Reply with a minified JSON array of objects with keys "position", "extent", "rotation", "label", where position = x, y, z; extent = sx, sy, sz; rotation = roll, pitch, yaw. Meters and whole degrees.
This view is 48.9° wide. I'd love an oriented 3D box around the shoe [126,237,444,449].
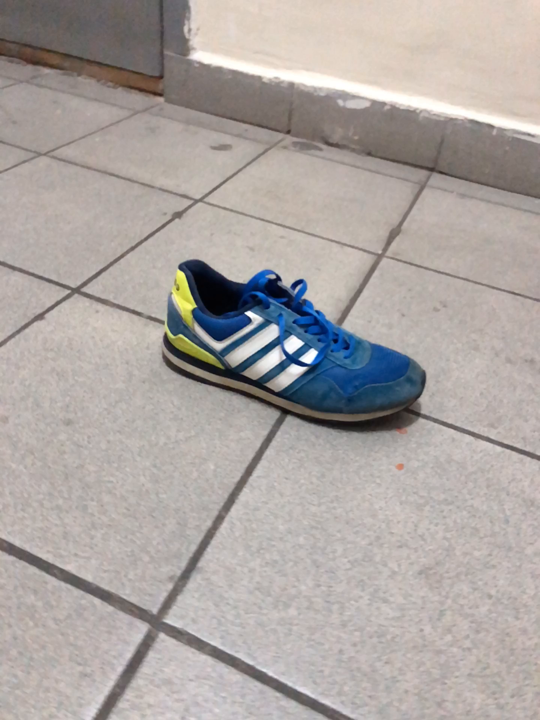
[{"position":[0.014,-0.024,0.607],"extent":[0.292,0.099,0.111],"rotation":[16,39,10],"label":"shoe"}]
